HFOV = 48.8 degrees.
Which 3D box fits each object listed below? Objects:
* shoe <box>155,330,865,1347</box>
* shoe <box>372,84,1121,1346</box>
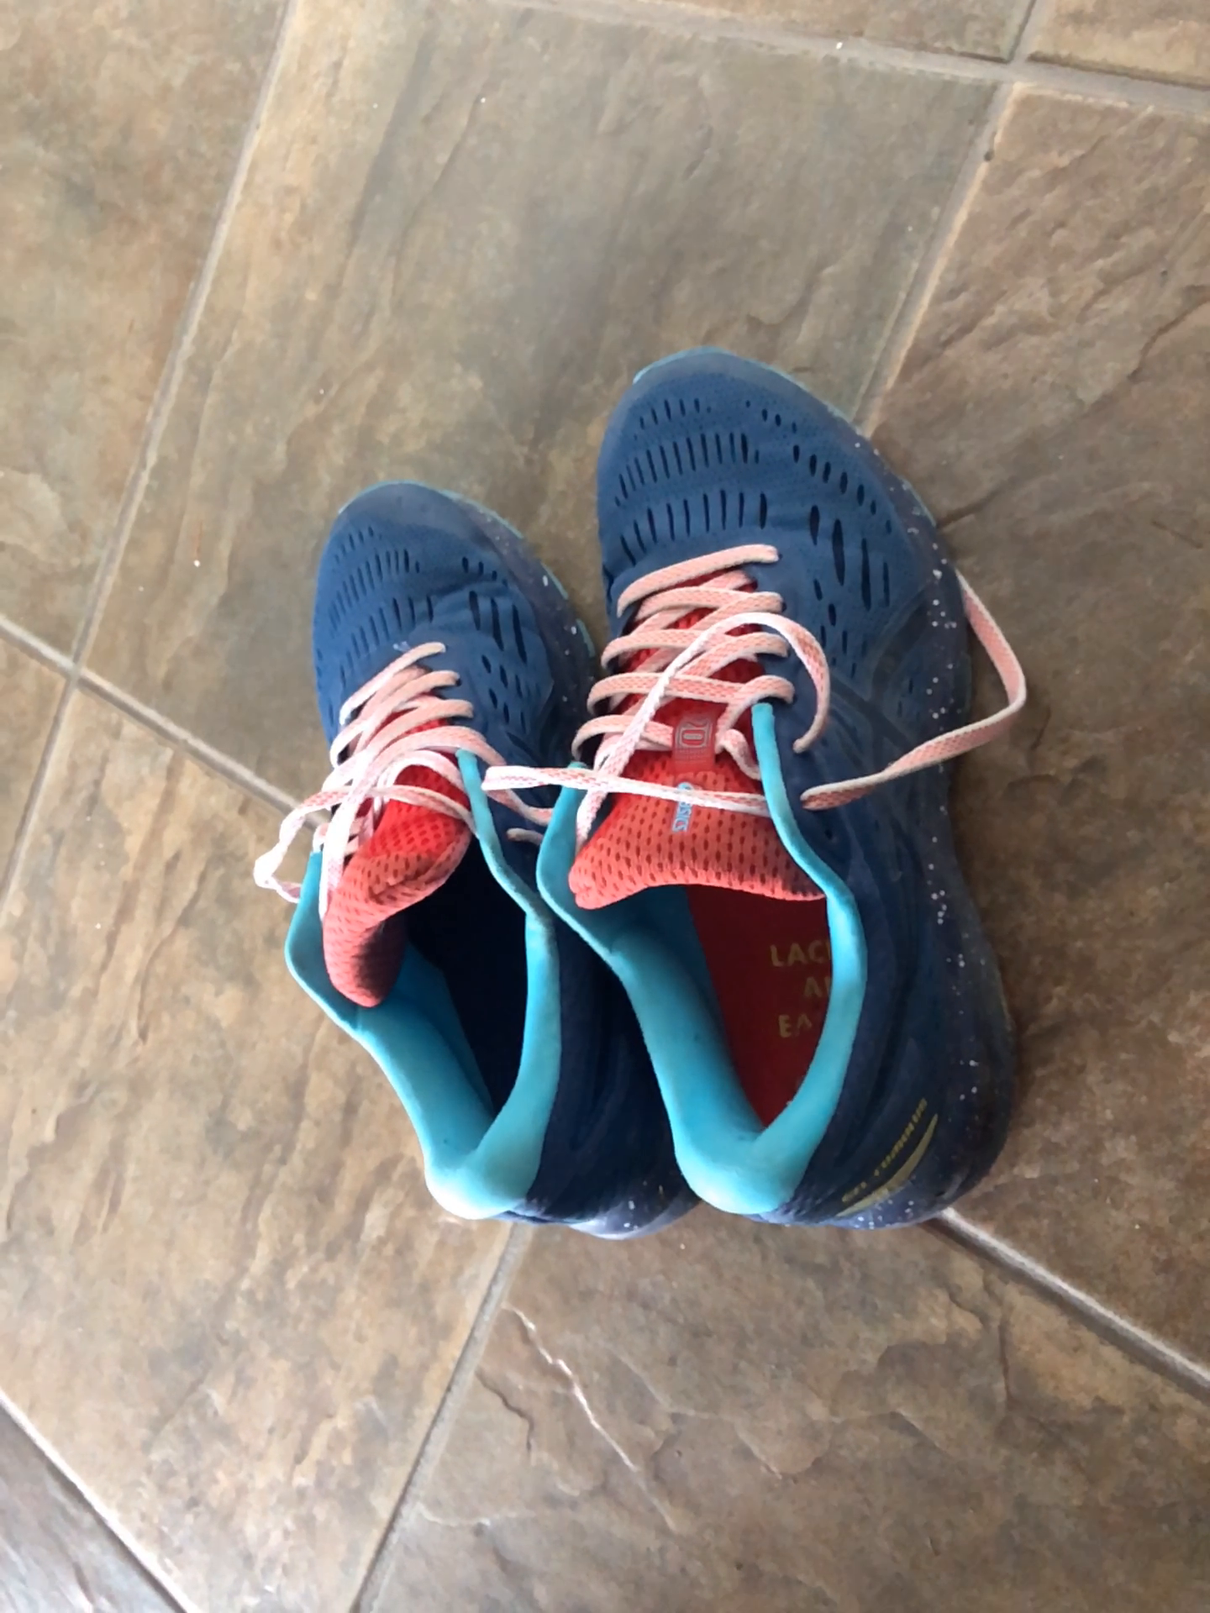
[{"bbox_3d":[-0.036,0.010,0.479,0.120,0.129,0.300,-26,75,28],"label":"shoe"},{"bbox_3d":[0.042,-0.018,0.394,0.120,0.129,0.300,-16,79,30],"label":"shoe"}]
